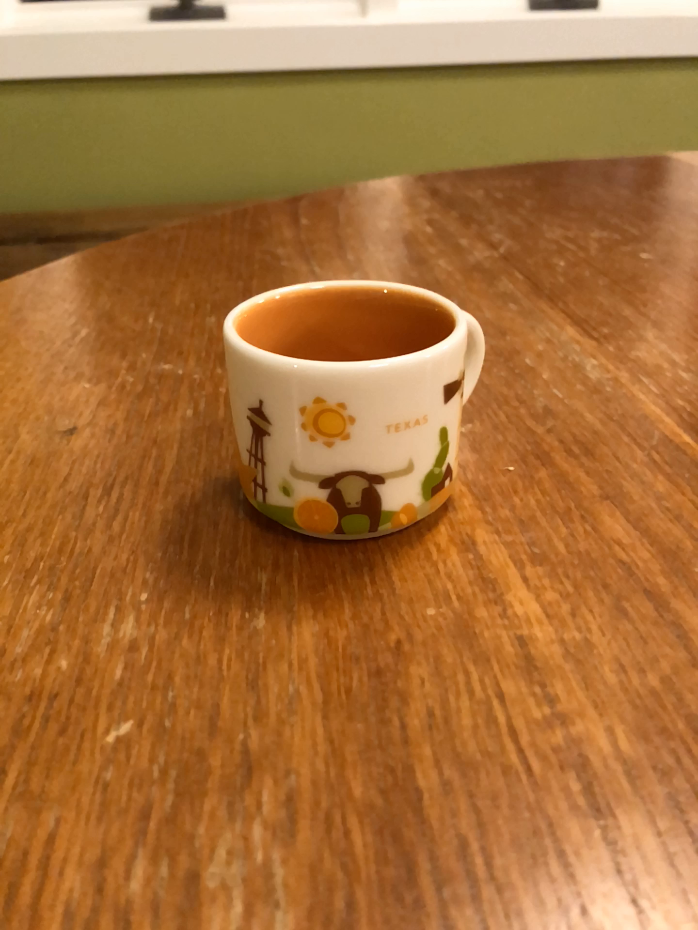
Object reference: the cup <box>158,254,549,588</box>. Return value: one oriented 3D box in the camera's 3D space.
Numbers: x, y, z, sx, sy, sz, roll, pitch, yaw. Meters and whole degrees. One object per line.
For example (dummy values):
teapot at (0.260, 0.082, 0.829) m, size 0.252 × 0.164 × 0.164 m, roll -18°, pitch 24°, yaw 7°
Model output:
cup at (0.003, -0.018, 0.210) m, size 0.080 × 0.049 × 0.059 m, roll -26°, pitch 39°, yaw -35°
